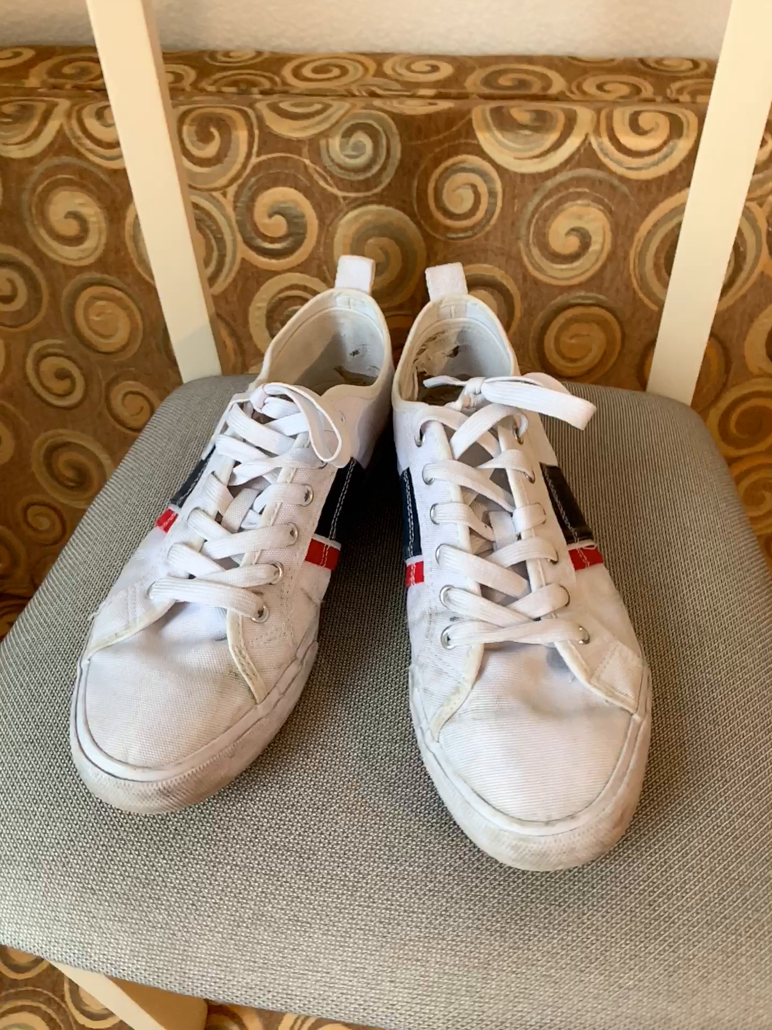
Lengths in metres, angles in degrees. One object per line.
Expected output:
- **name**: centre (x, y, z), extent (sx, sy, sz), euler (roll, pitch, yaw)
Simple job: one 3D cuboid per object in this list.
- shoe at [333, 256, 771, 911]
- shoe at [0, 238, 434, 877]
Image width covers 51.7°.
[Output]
- **shoe**: centre (0.047, 0.009, 0.351), extent (0.110, 0.090, 0.271), euler (-7, 52, -2)
- **shoe**: centre (-0.076, -0.004, 0.375), extent (0.120, 0.090, 0.281), euler (14, 54, 14)
